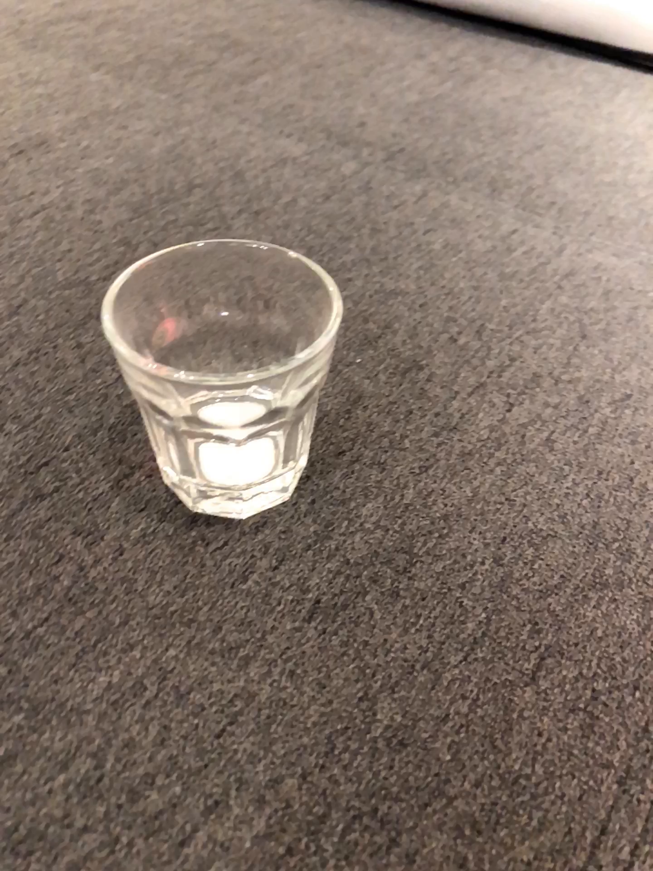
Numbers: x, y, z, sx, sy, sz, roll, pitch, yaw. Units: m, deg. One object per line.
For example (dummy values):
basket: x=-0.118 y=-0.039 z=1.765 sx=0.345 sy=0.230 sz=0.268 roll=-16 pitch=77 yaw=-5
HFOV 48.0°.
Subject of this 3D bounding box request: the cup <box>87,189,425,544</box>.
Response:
cup: x=-0.013 y=-0.018 z=0.177 sx=0.060 sy=0.050 sz=0.060 roll=3 pitch=44 yaw=-3
